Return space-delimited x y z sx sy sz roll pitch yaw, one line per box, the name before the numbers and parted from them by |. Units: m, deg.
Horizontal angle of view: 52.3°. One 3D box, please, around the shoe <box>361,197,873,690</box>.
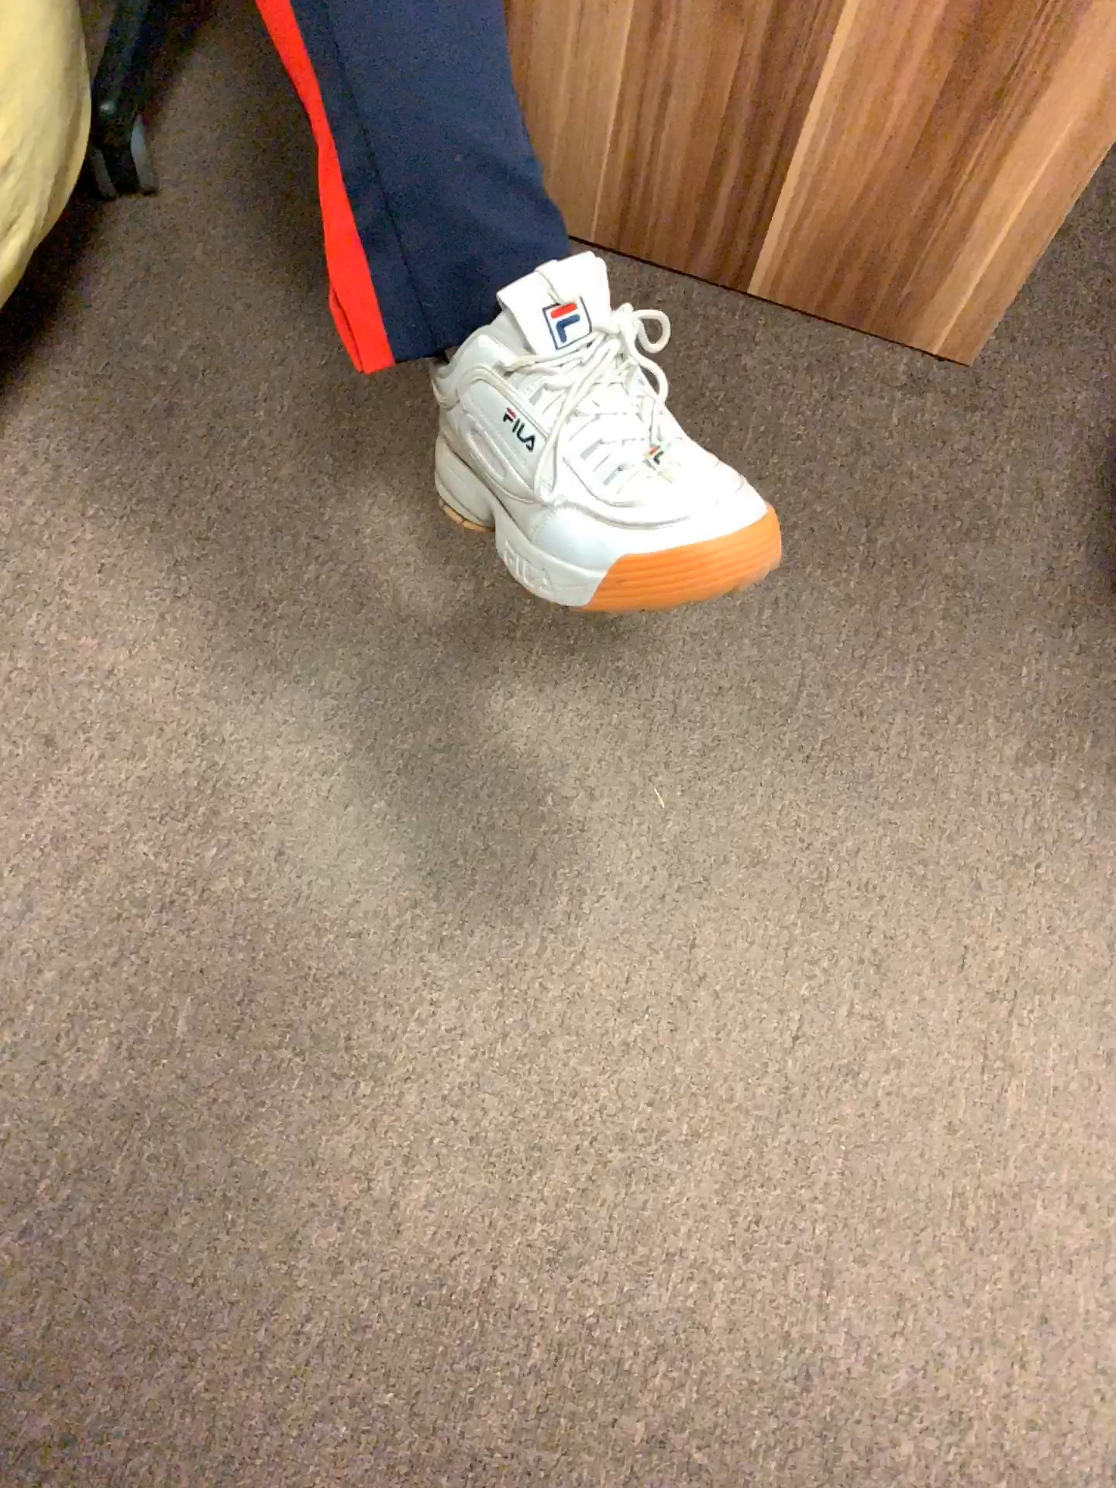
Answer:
shoe | 0.018 -0.164 0.578 0.130 0.130 0.230 -25 49 -24
